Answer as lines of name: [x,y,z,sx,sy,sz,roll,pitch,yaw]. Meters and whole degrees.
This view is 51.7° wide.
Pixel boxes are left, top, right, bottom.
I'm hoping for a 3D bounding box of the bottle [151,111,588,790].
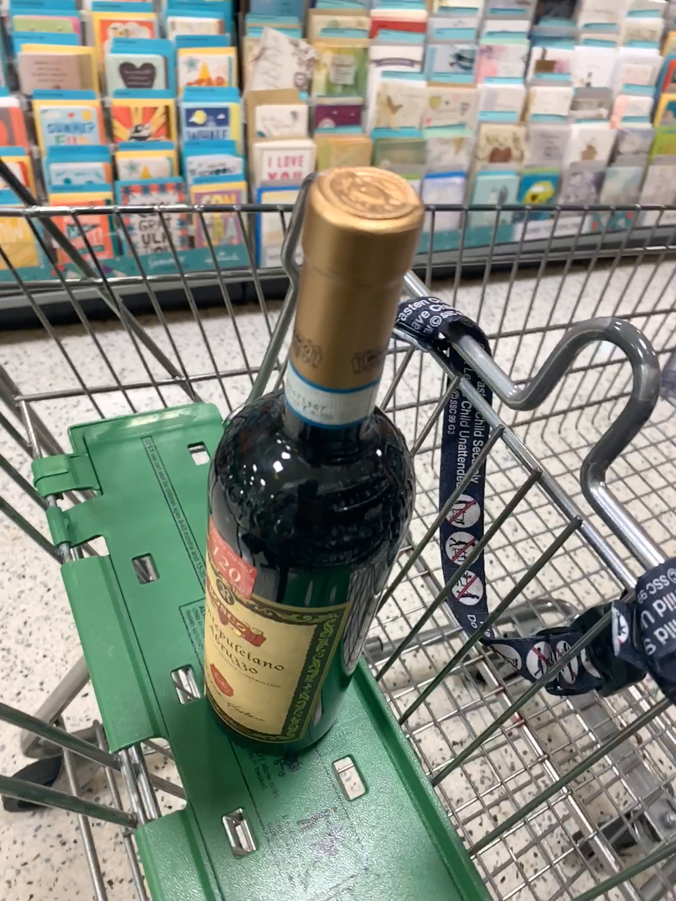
bottle: [-0.013,0.029,0.277,0.080,0.277,0.080,6,46,-7]
